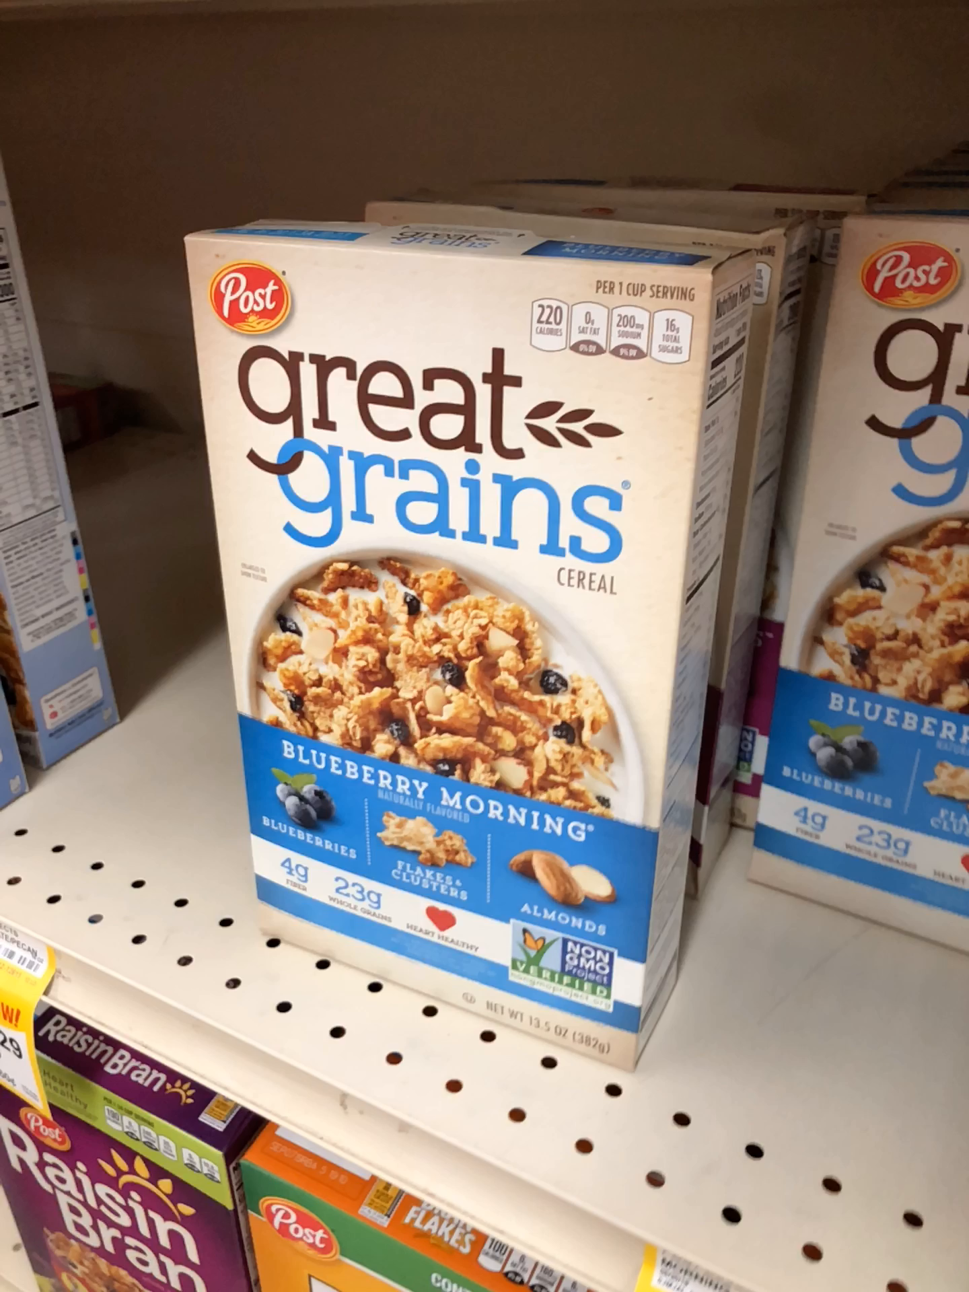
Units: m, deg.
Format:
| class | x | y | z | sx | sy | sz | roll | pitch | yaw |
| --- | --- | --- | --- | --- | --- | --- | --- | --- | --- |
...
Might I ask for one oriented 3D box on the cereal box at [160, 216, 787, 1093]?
| class | x | y | z | sx | sy | sz | roll | pitch | yaw |
| --- | --- | --- | --- | --- | --- | --- | --- | --- | --- |
| cereal box | -0.008 | 0.003 | 0.383 | 0.180 | 0.279 | 0.060 | 13 | 29 | 24 |
